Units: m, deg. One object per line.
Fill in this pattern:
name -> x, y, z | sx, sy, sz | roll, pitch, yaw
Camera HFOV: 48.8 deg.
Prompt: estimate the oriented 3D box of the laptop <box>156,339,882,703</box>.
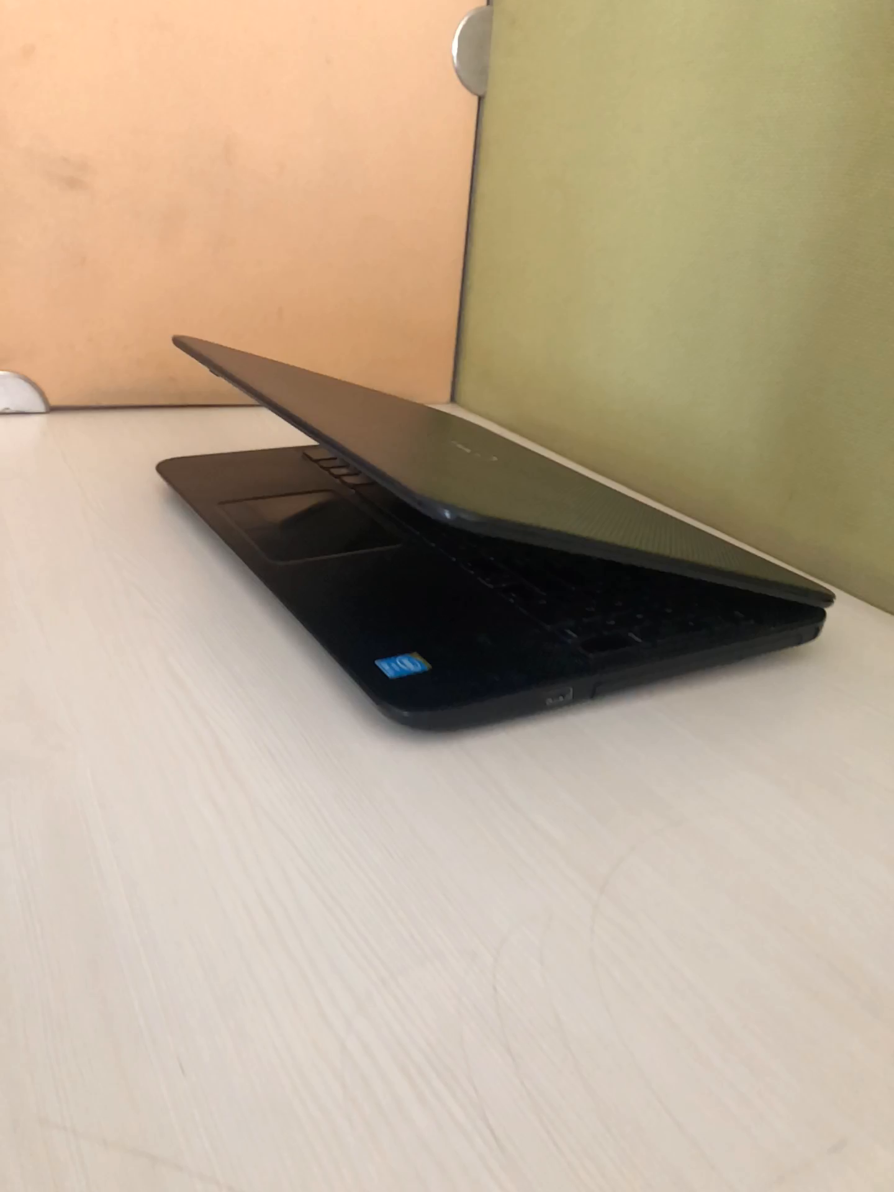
laptop -> 0.007, -0.076, 0.563 | 0.247, 0.078, 0.354 | -8, 26, -29
